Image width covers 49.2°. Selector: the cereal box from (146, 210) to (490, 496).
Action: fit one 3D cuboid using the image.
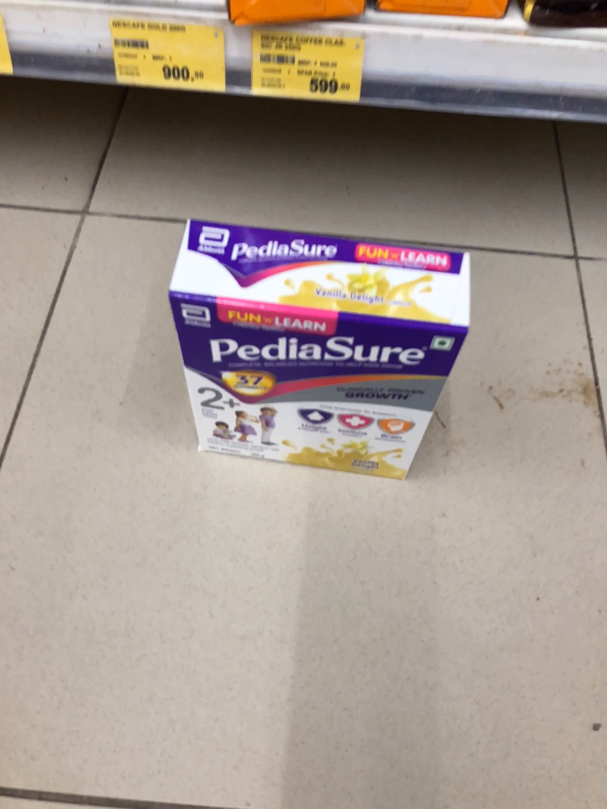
[{"bbox_3d":[0.006,-0.015,0.349,0.140,0.159,0.050,8,60,2],"label":"cereal box"}]
